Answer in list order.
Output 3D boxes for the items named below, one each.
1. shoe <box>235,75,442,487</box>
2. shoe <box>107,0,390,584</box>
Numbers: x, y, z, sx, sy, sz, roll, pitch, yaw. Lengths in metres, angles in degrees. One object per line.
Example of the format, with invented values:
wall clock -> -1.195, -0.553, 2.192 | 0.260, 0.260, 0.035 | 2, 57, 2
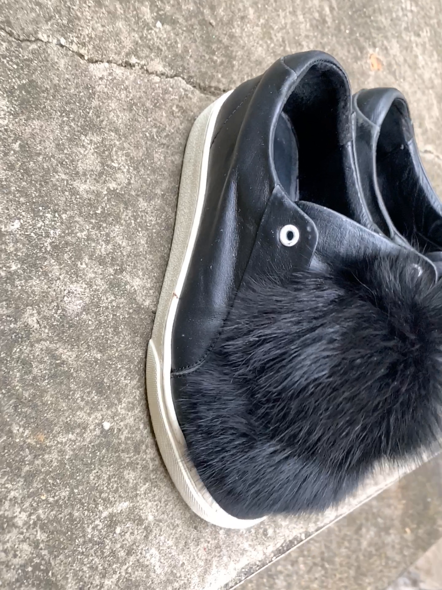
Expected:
shoe -> 0.120, -0.009, 0.324 | 0.098, 0.097, 0.243 | -28, 98, -40
shoe -> 0.014, -0.017, 0.253 | 0.095, 0.097, 0.269 | 12, 72, -38
